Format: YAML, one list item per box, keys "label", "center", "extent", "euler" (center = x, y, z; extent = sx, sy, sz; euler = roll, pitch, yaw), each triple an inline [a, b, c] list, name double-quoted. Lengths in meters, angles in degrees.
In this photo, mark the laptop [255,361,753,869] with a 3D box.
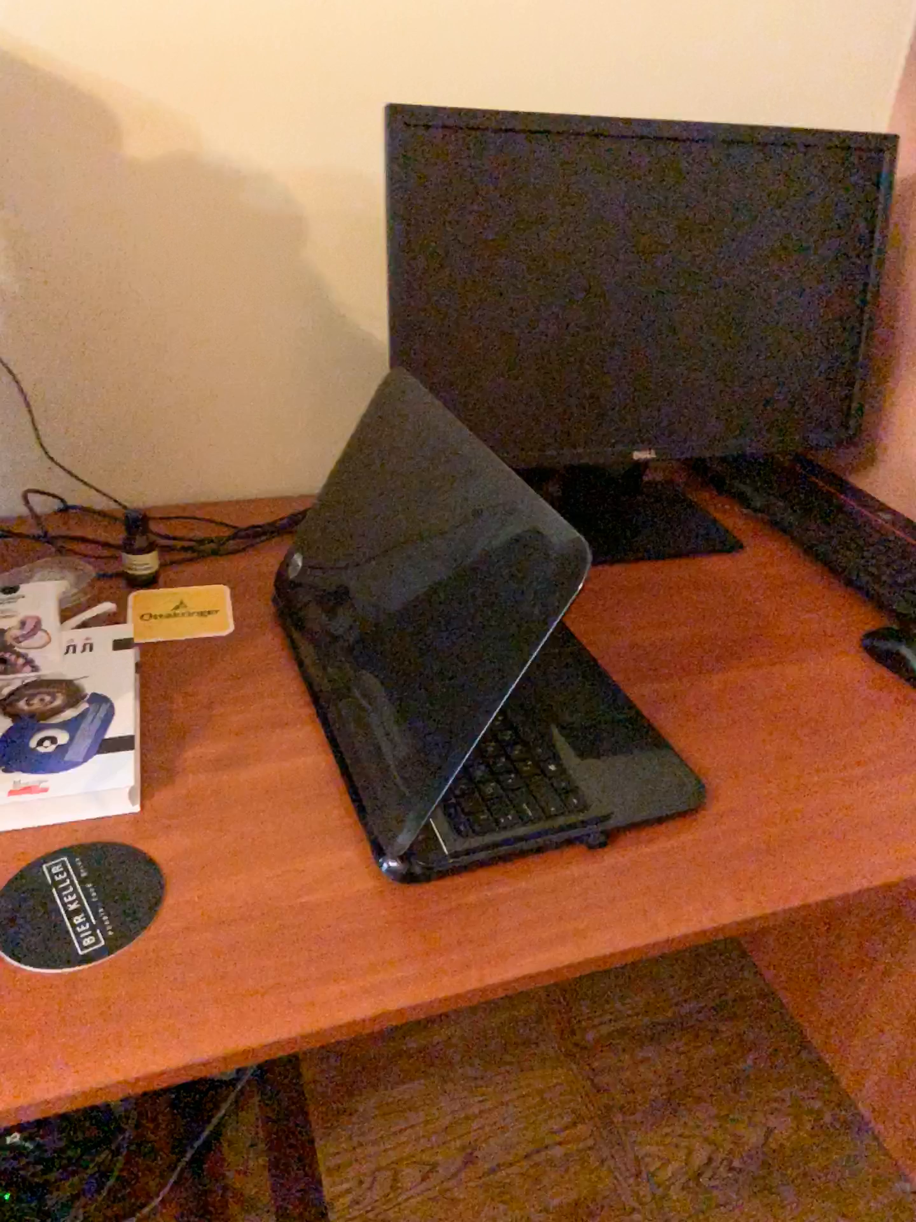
- label: "laptop"
  center: [-0.002, -0.031, 0.690]
  extent: [0.222, 0.198, 0.350]
  euler: [-8, 33, -21]
